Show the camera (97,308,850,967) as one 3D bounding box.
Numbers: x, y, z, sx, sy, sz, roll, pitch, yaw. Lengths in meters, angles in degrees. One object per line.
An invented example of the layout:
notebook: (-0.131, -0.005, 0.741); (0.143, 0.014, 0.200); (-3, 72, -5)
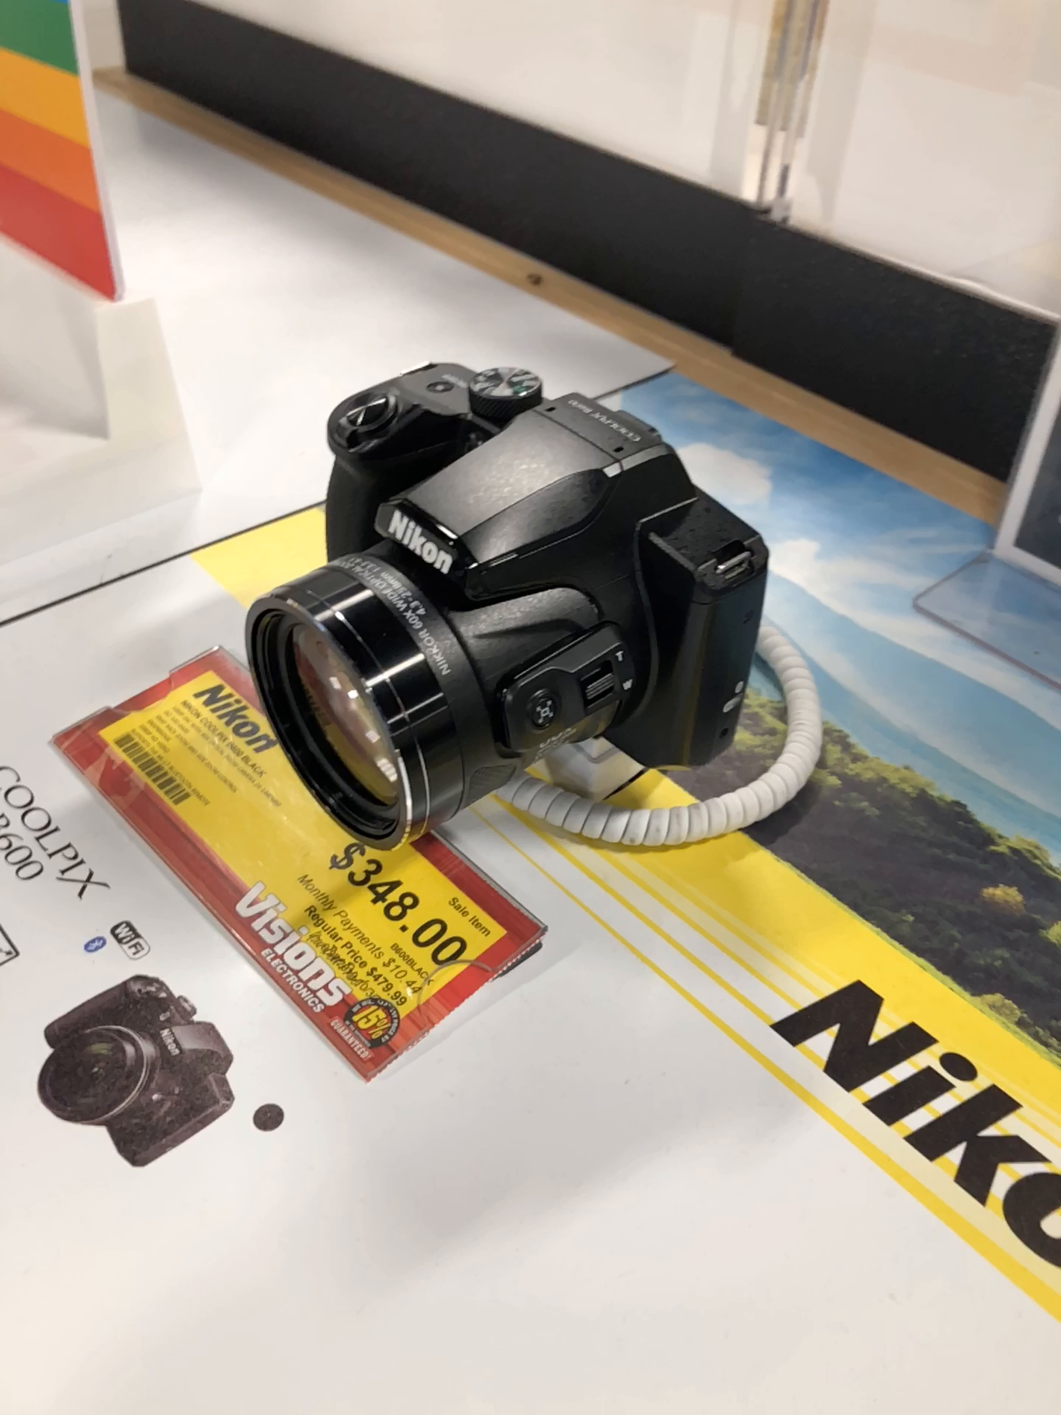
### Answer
camera: (-0.017, -0.029, 0.283); (0.110, 0.070, 0.131); (-28, 49, -31)
